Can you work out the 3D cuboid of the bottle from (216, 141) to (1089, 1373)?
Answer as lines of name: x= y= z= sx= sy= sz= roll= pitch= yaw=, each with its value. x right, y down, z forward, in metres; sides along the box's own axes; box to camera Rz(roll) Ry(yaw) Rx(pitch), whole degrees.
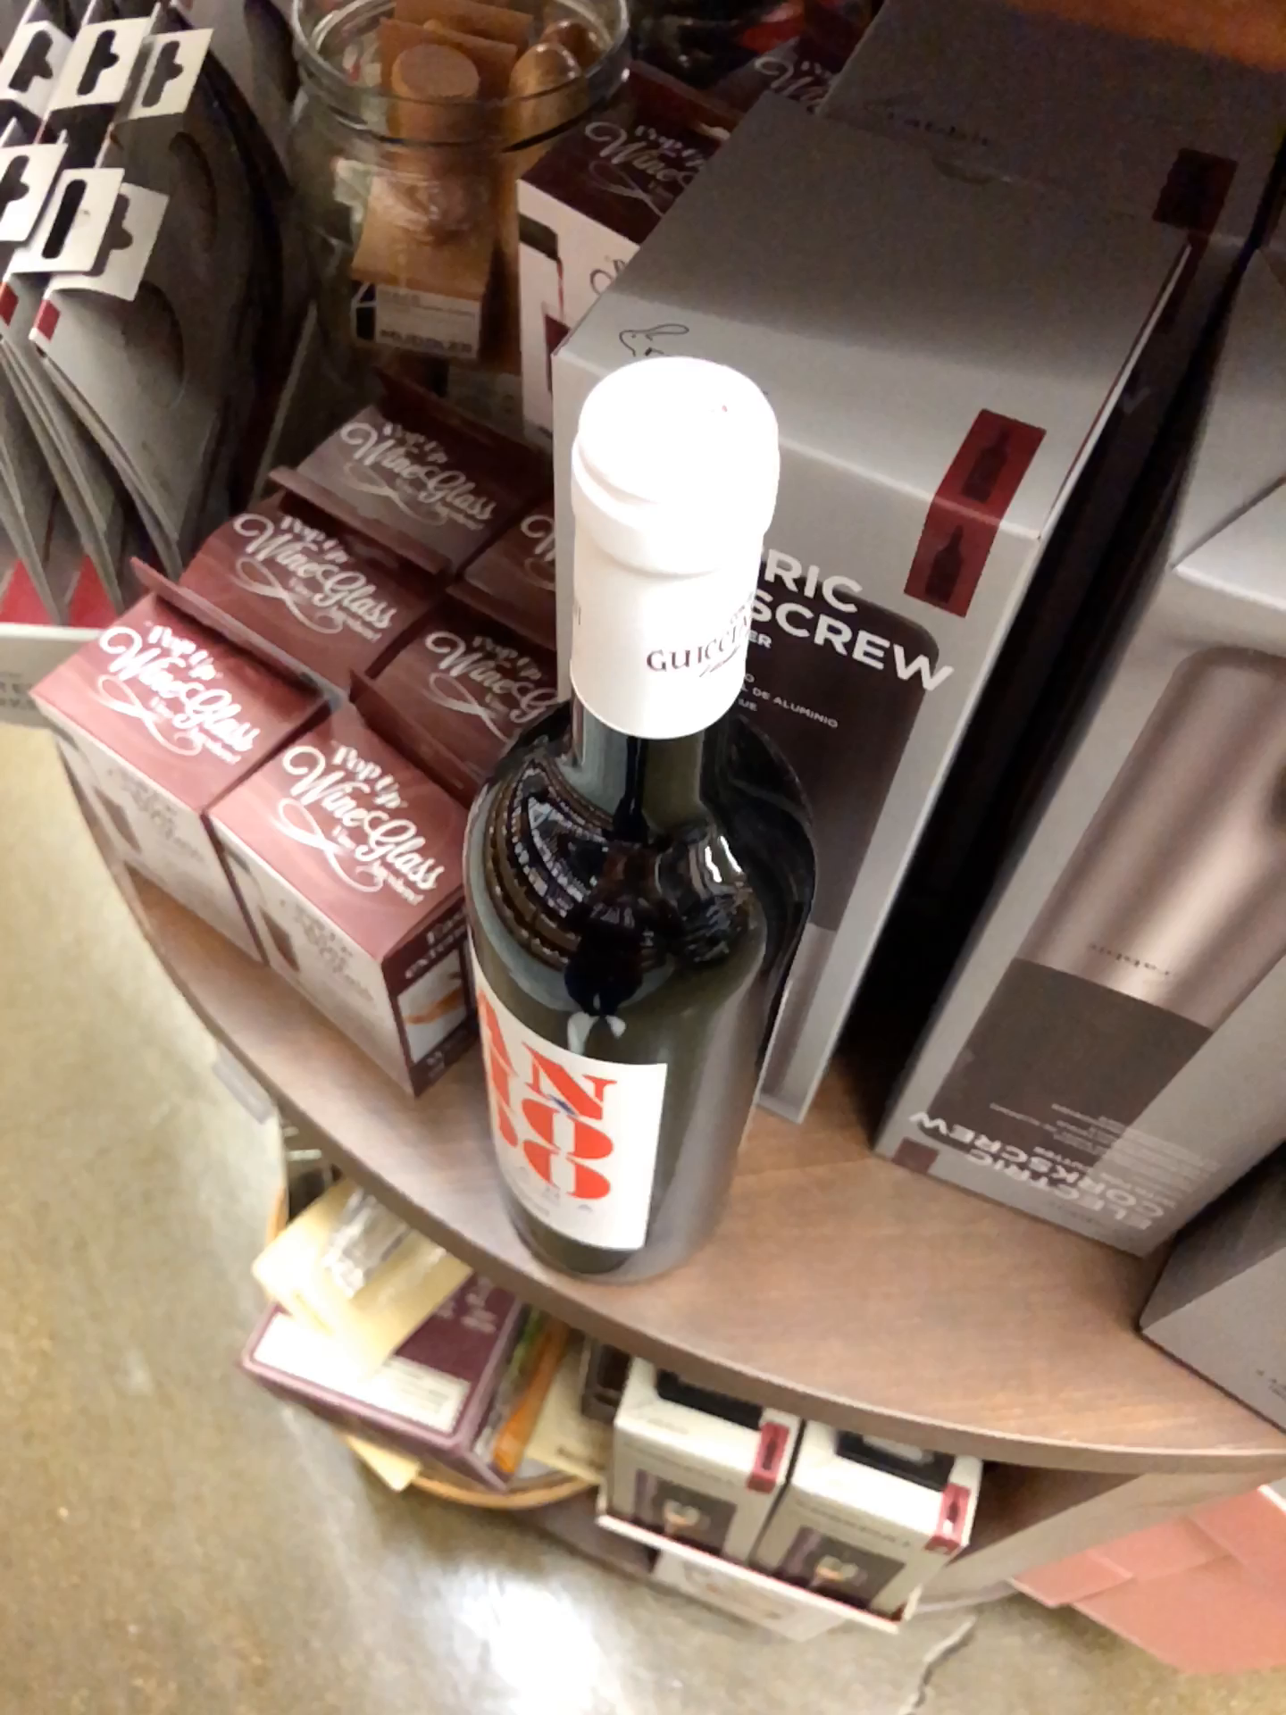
bottle: x=-0.002 y=0.021 z=0.320 sx=0.080 sy=0.309 sz=0.083 roll=1 pitch=58 yaw=-1
